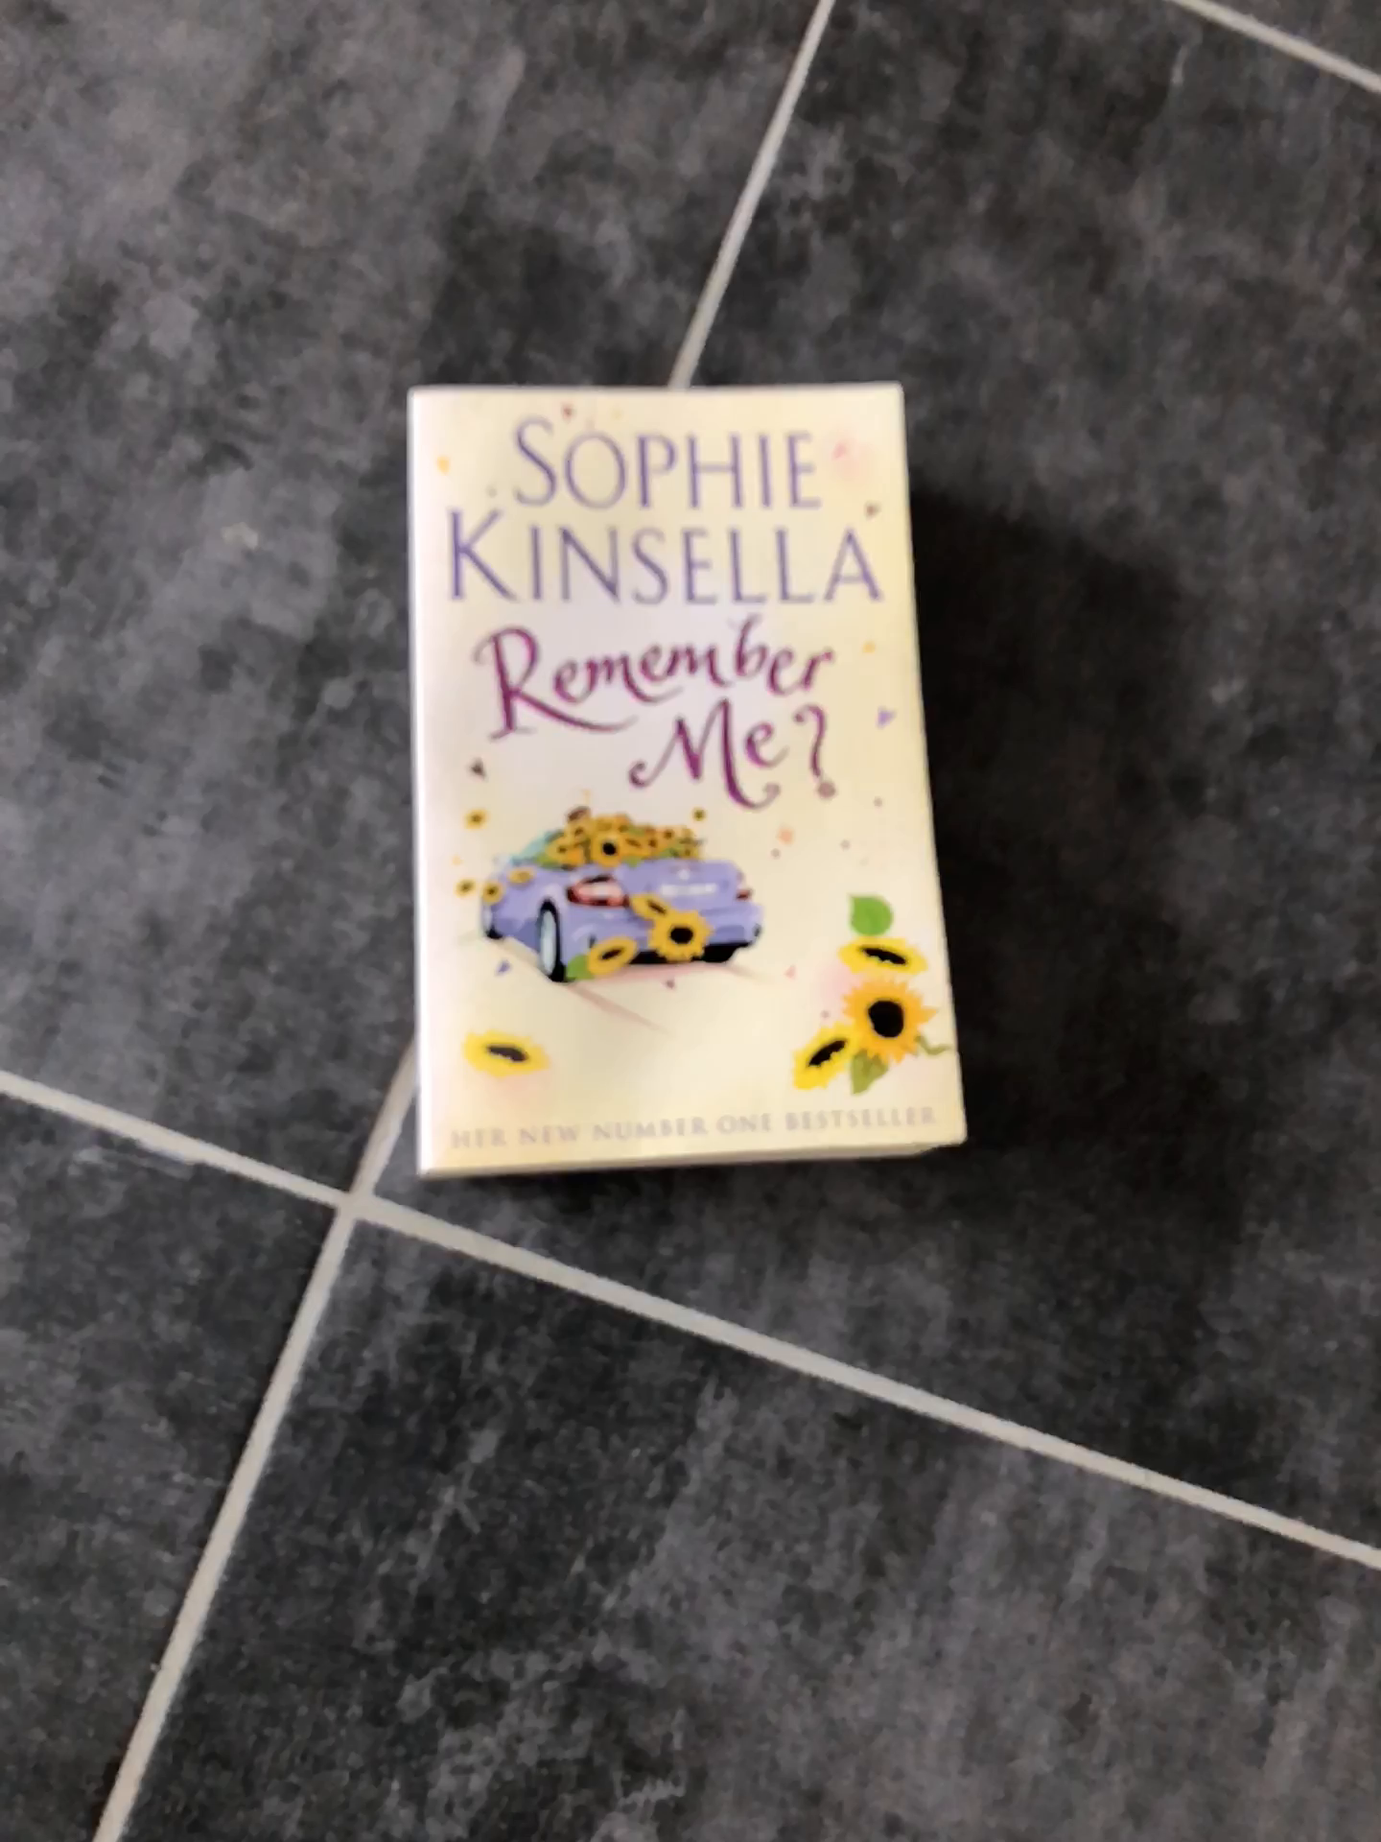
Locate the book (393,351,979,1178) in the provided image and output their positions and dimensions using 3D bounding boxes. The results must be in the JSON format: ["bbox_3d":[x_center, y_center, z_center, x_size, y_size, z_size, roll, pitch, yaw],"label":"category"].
[{"bbox_3d":[-0.006,-0.041,0.385,0.130,0.040,0.200,-2,77,-5],"label":"book"}]
